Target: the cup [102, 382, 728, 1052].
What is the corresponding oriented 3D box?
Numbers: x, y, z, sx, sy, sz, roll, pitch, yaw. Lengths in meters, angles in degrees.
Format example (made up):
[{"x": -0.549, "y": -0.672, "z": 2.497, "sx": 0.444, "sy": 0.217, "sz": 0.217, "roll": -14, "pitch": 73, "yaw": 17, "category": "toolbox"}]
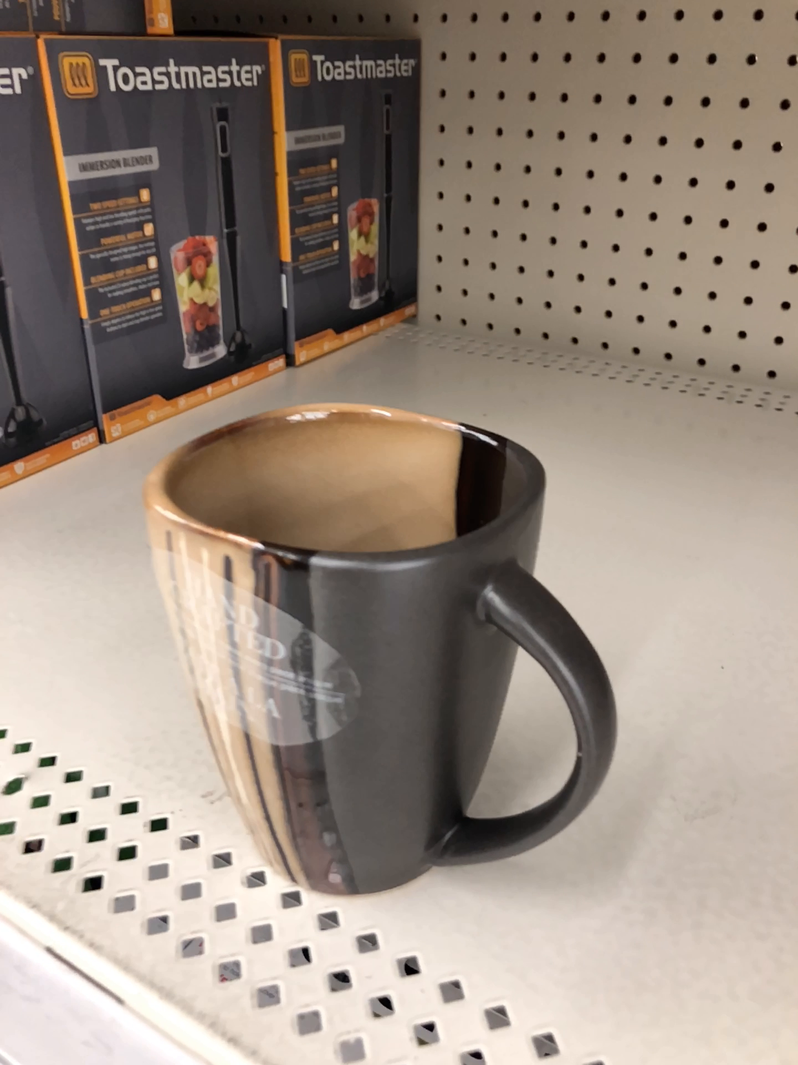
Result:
[{"x": 0.006, "y": 0.036, "z": 0.233, "sx": 0.120, "sy": 0.110, "sz": 0.087, "roll": 16, "pitch": 32, "yaw": 27, "category": "cup"}]
